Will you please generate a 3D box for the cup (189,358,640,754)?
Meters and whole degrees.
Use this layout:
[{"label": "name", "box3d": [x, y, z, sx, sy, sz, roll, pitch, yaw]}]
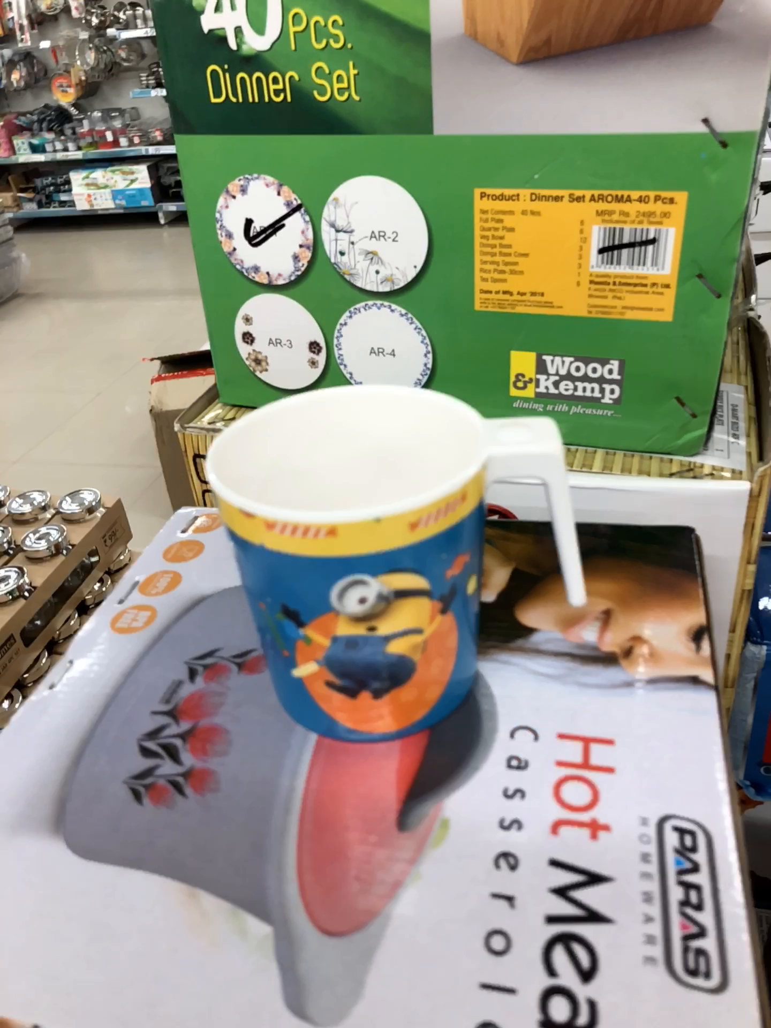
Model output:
[{"label": "cup", "box3d": [0.009, 0.010, 0.260, 0.110, 0.079, 0.081, -6, 31, 1]}]
